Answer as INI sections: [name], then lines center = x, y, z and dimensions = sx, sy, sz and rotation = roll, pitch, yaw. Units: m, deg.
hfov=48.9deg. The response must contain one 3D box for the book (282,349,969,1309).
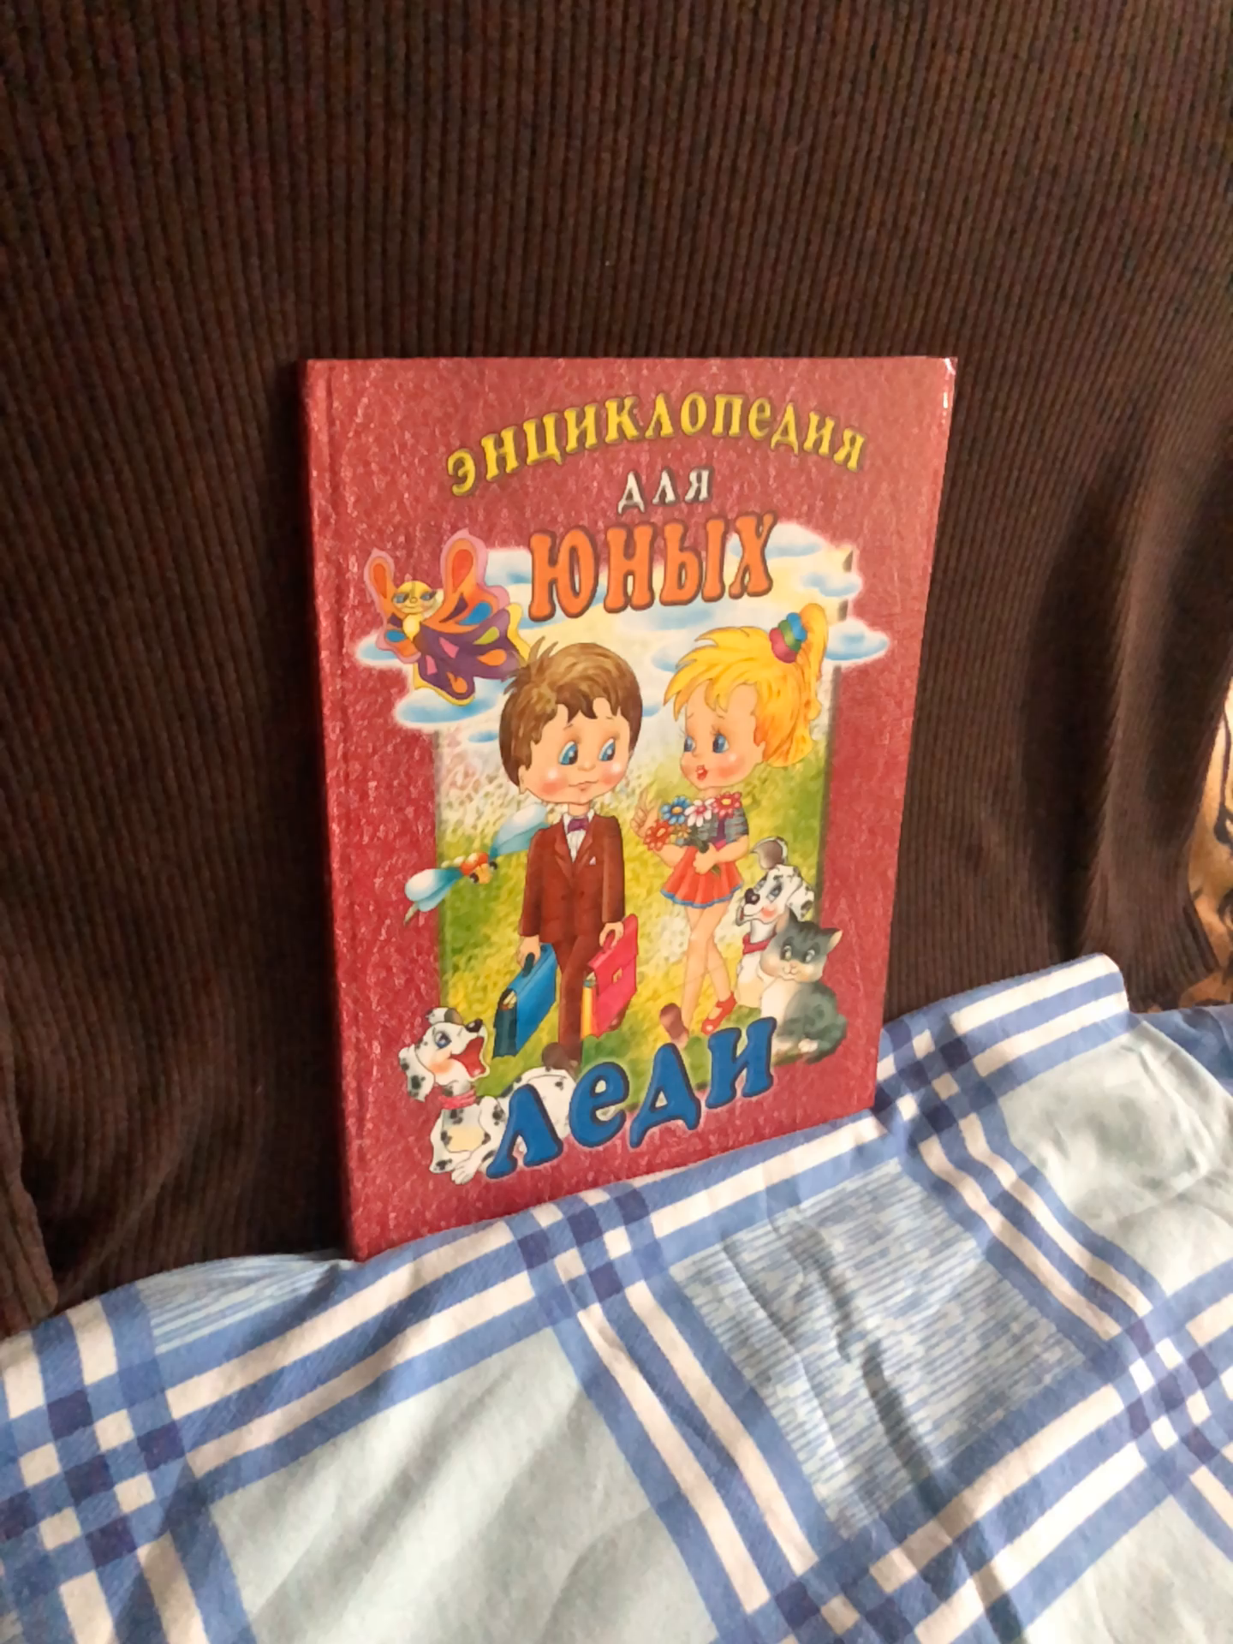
[book]
center = 0.010, 0.000, 0.465
dimensions = 0.231, 0.303, 0.020
rotation = -10, 24, -29
